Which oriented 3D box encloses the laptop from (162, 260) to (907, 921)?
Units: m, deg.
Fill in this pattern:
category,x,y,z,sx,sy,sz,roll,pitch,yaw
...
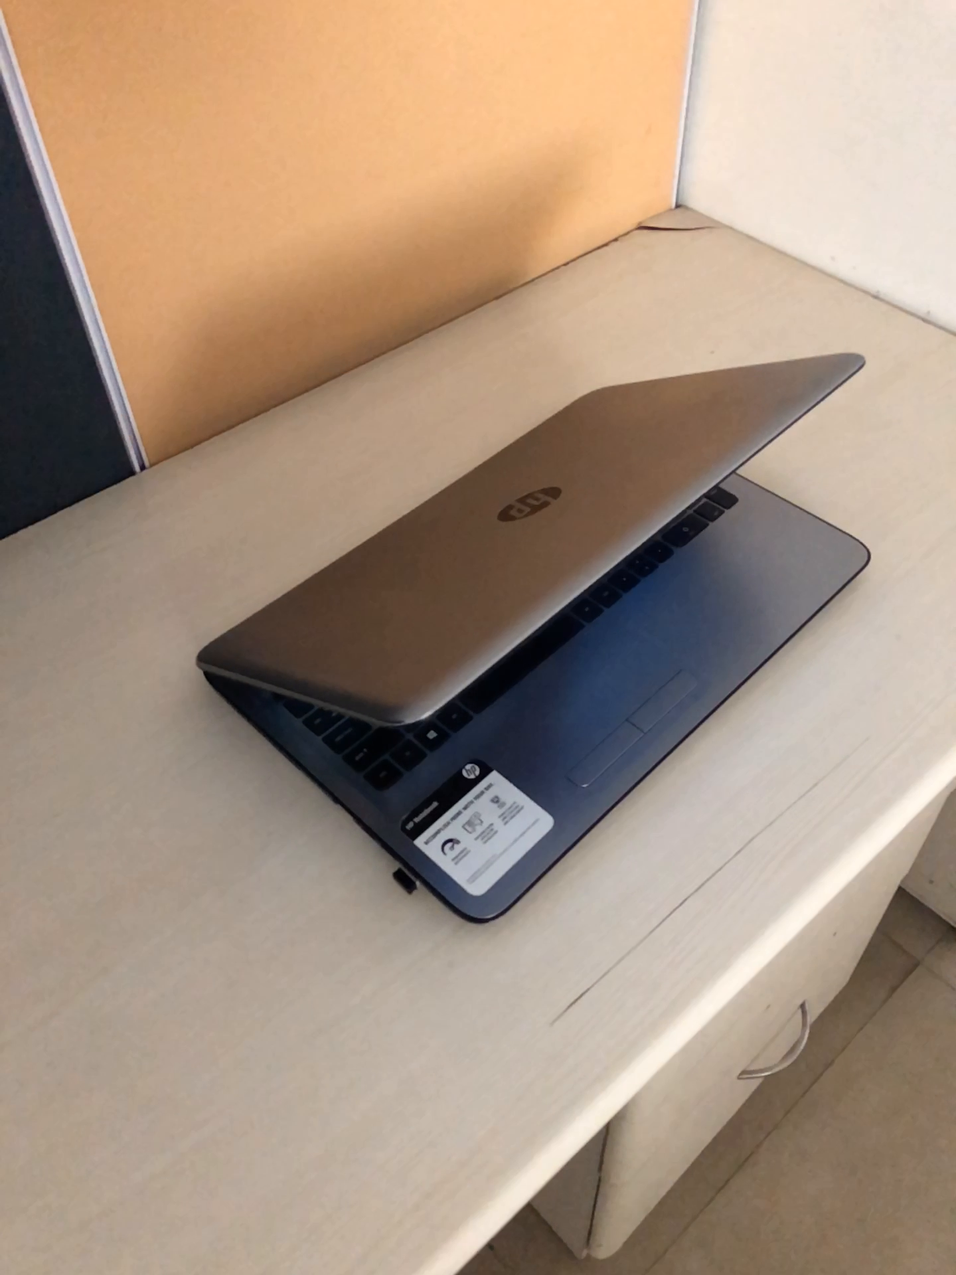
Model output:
category,x,y,z,sx,sy,sz,roll,pitch,yaw
laptop,0.043,-0.061,0.631,0.238,0.133,0.365,34,56,30
